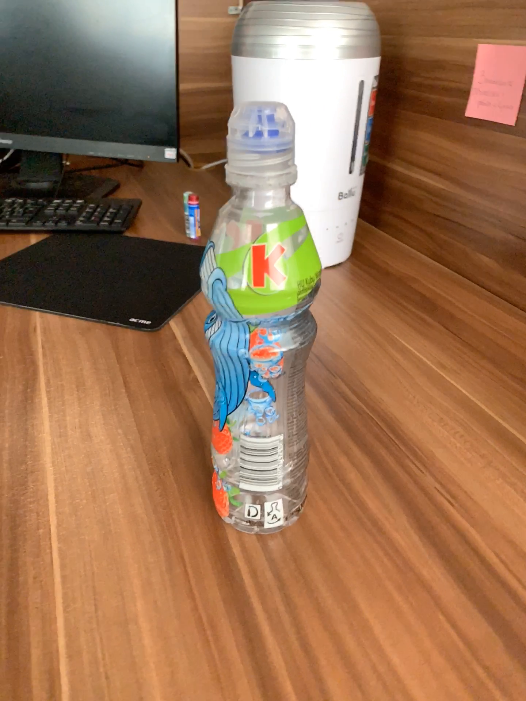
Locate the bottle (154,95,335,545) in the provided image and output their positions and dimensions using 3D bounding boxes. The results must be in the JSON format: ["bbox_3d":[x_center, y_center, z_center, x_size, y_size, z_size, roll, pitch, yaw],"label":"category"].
[{"bbox_3d":[-0.005,-0.005,0.299,0.070,0.239,0.070,0,31,0],"label":"bottle"}]
